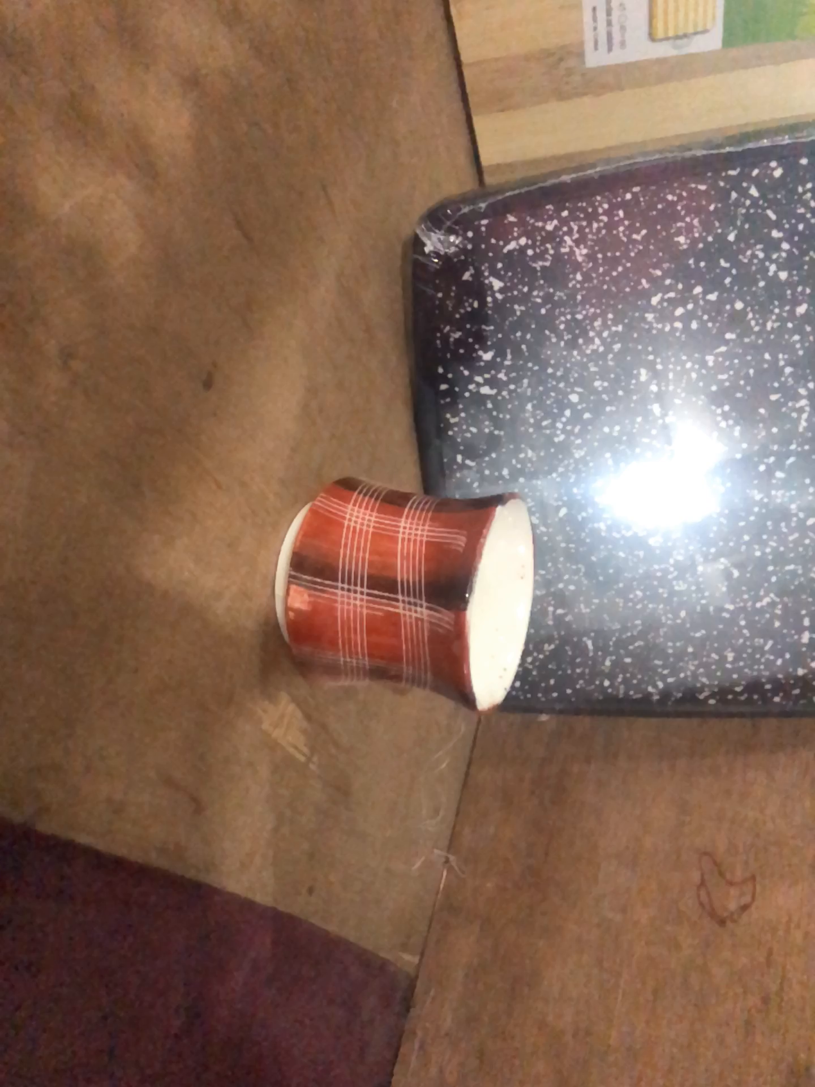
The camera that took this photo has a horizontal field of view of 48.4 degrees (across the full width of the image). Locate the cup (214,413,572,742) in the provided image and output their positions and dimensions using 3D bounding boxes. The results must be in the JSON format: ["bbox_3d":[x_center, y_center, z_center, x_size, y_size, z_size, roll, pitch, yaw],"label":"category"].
[{"bbox_3d":[0.003,0.013,0.256,0.091,0.060,0.060,46,55,-61],"label":"cup"}]
